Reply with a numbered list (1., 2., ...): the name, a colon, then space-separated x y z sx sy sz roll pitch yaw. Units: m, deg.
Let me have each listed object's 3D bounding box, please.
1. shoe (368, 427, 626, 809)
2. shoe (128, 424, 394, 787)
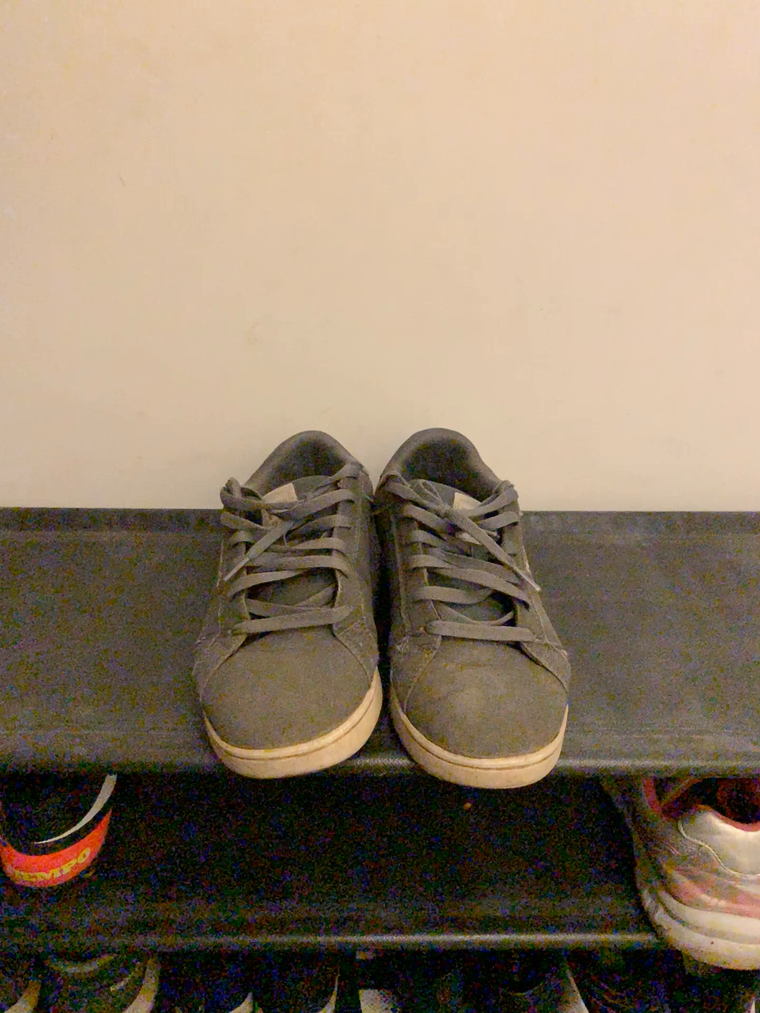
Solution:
1. shoe: 0.058 0.046 0.516 0.120 0.079 0.303 -1 29 1
2. shoe: -0.052 0.040 0.495 0.120 0.079 0.272 -1 29 1
